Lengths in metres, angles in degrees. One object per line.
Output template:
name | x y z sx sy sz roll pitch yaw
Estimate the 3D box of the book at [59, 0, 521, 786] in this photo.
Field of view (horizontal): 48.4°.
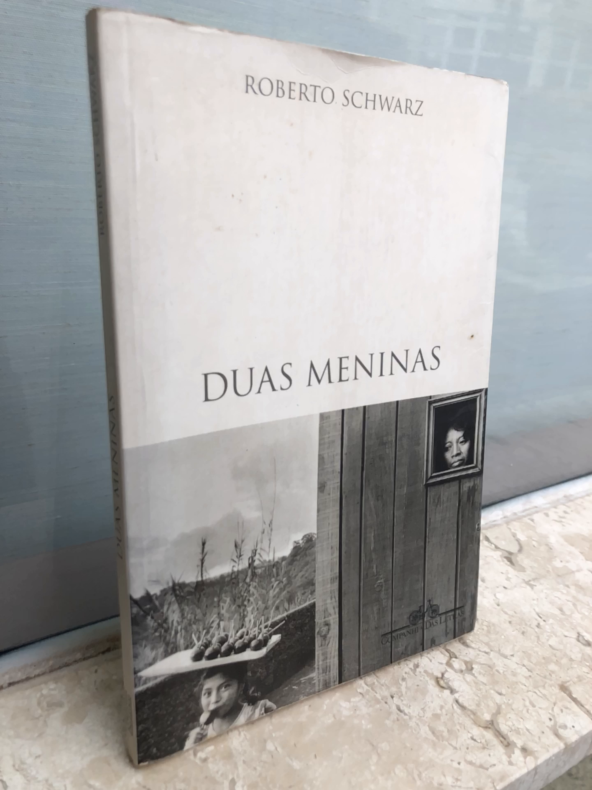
book | 0.008 0.003 0.208 0.139 0.205 0.016 -8 16 -30
